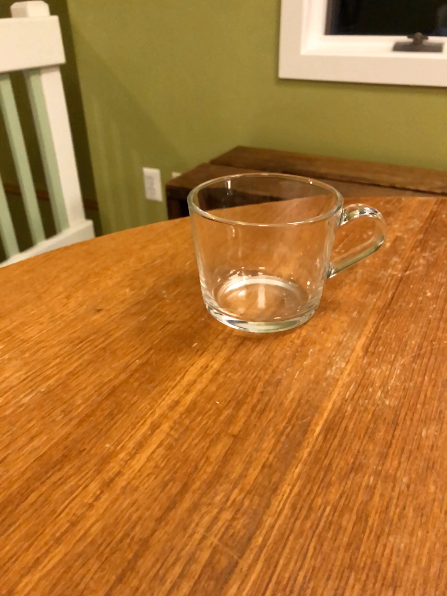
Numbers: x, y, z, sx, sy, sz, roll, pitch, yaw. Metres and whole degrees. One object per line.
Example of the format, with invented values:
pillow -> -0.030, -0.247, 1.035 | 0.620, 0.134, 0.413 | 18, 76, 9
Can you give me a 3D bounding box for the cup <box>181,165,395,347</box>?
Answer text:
cup -> 0.038, -0.033, 0.345 | 0.120, 0.089, 0.101 | 0, 30, 2
